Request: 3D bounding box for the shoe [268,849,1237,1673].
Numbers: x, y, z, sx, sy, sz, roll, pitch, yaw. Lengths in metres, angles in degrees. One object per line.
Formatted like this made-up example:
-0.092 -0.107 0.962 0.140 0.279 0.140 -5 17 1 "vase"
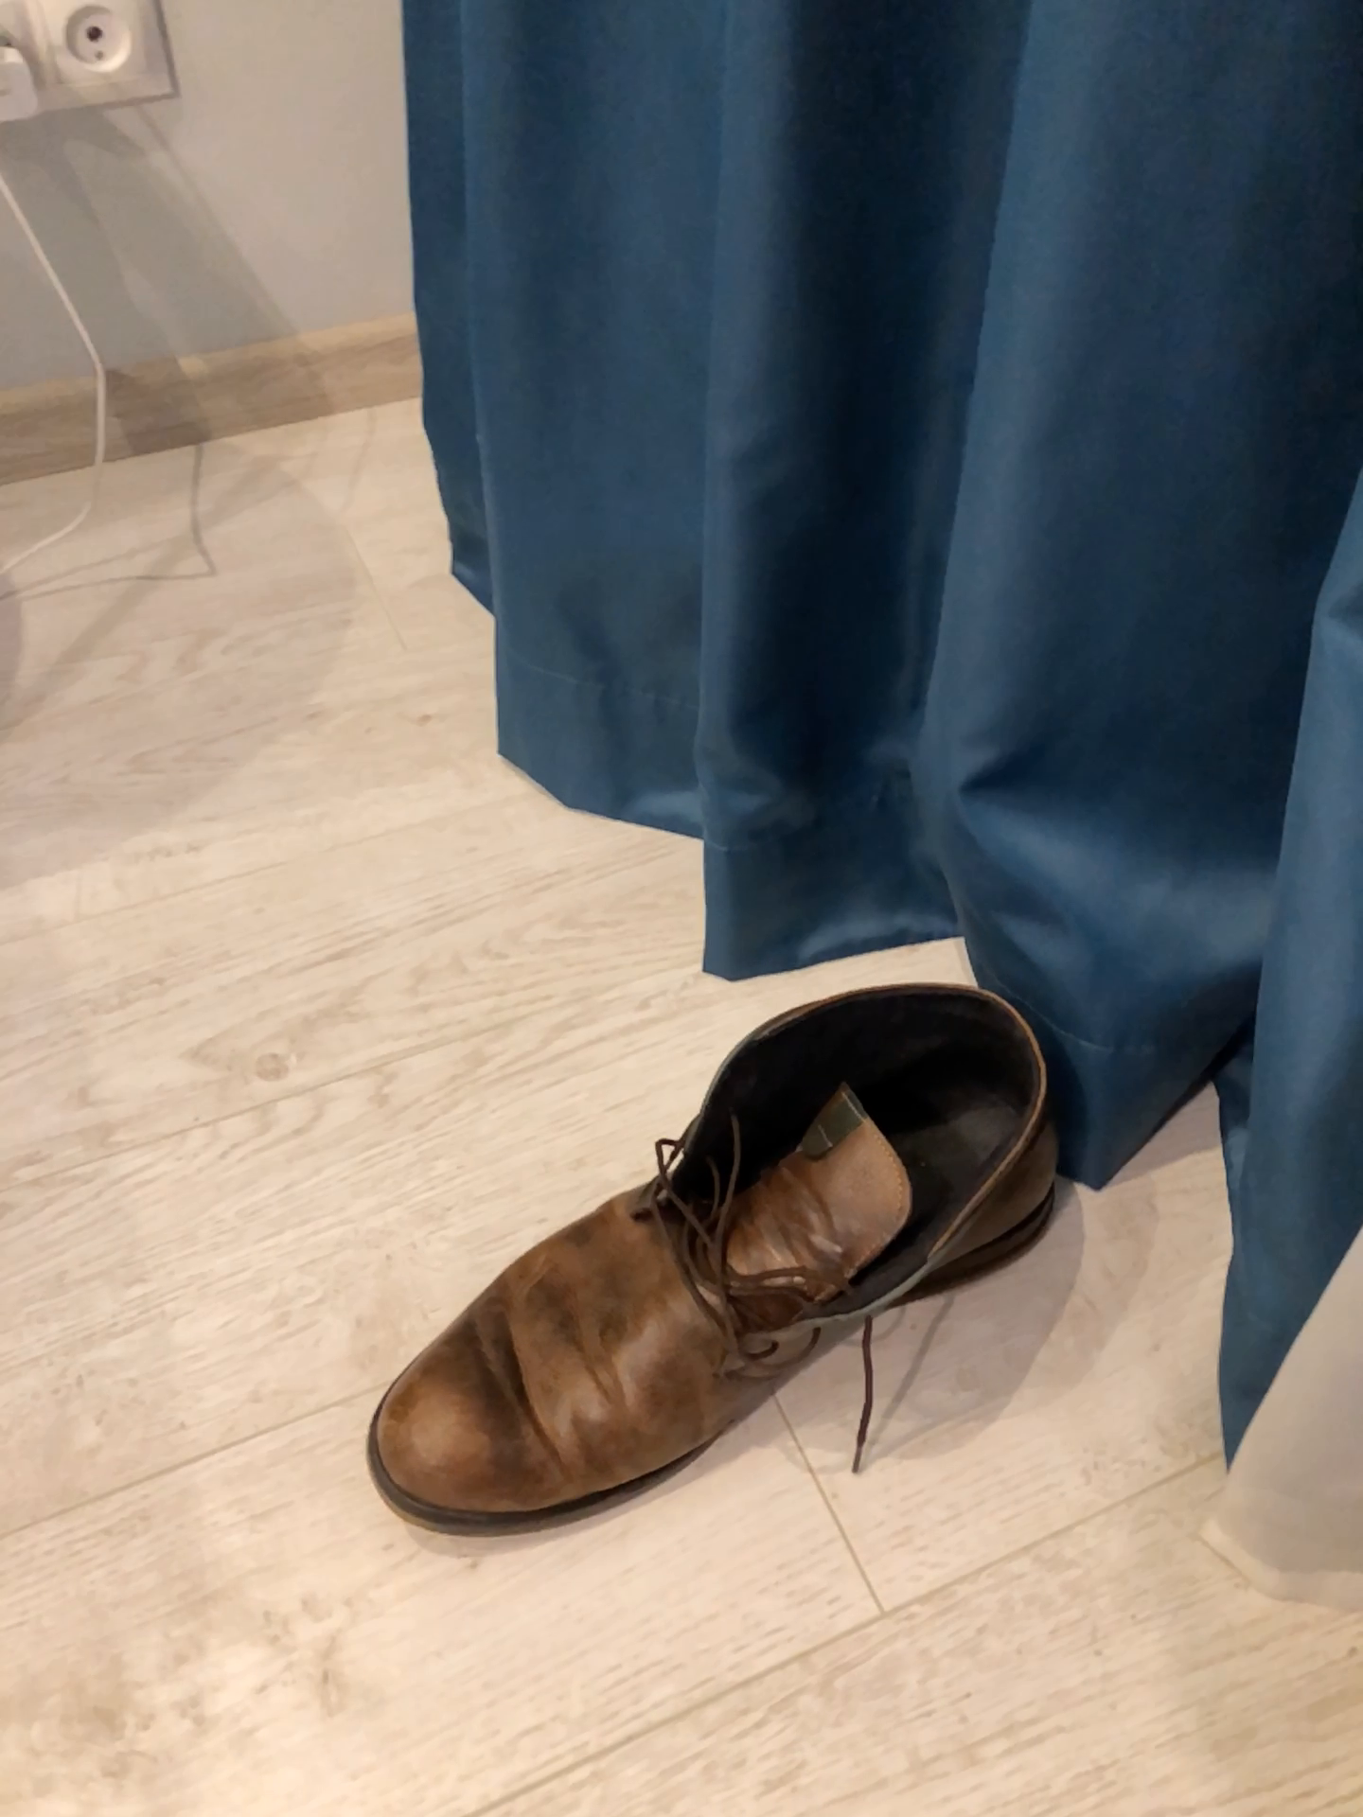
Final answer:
0.030 0.127 0.583 0.321 0.159 0.131 -21 48 -19 "shoe"
